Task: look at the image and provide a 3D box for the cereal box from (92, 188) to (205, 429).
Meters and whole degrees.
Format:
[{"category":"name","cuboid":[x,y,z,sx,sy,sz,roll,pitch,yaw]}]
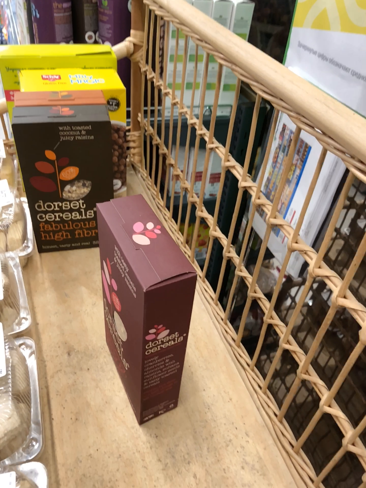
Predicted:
[{"category":"cereal box","cuboid":[-0.043,0.069,0.399,0.050,0.209,0.121,-14,45,-24]}]
